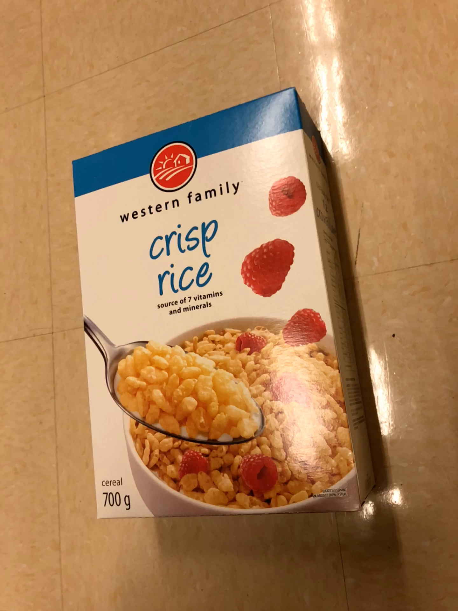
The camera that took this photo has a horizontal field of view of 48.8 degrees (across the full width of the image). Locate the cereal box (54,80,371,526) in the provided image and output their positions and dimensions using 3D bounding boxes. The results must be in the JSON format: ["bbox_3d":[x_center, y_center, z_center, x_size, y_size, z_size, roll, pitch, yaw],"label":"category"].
[{"bbox_3d":[-0.026,0.008,0.435,0.230,0.080,0.320,-11,78,22],"label":"cereal box"}]
